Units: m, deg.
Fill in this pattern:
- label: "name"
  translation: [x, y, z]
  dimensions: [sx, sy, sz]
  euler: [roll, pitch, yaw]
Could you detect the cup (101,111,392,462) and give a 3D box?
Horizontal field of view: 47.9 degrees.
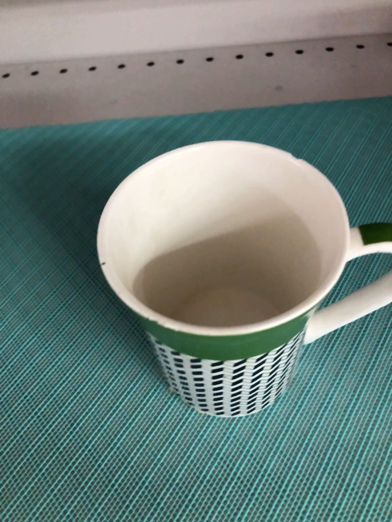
- label: "cup"
  translation: [0.030, 0.016, 0.169]
  dimensions: [0.110, 0.099, 0.080]
  euler: [-8, 54, -2]
